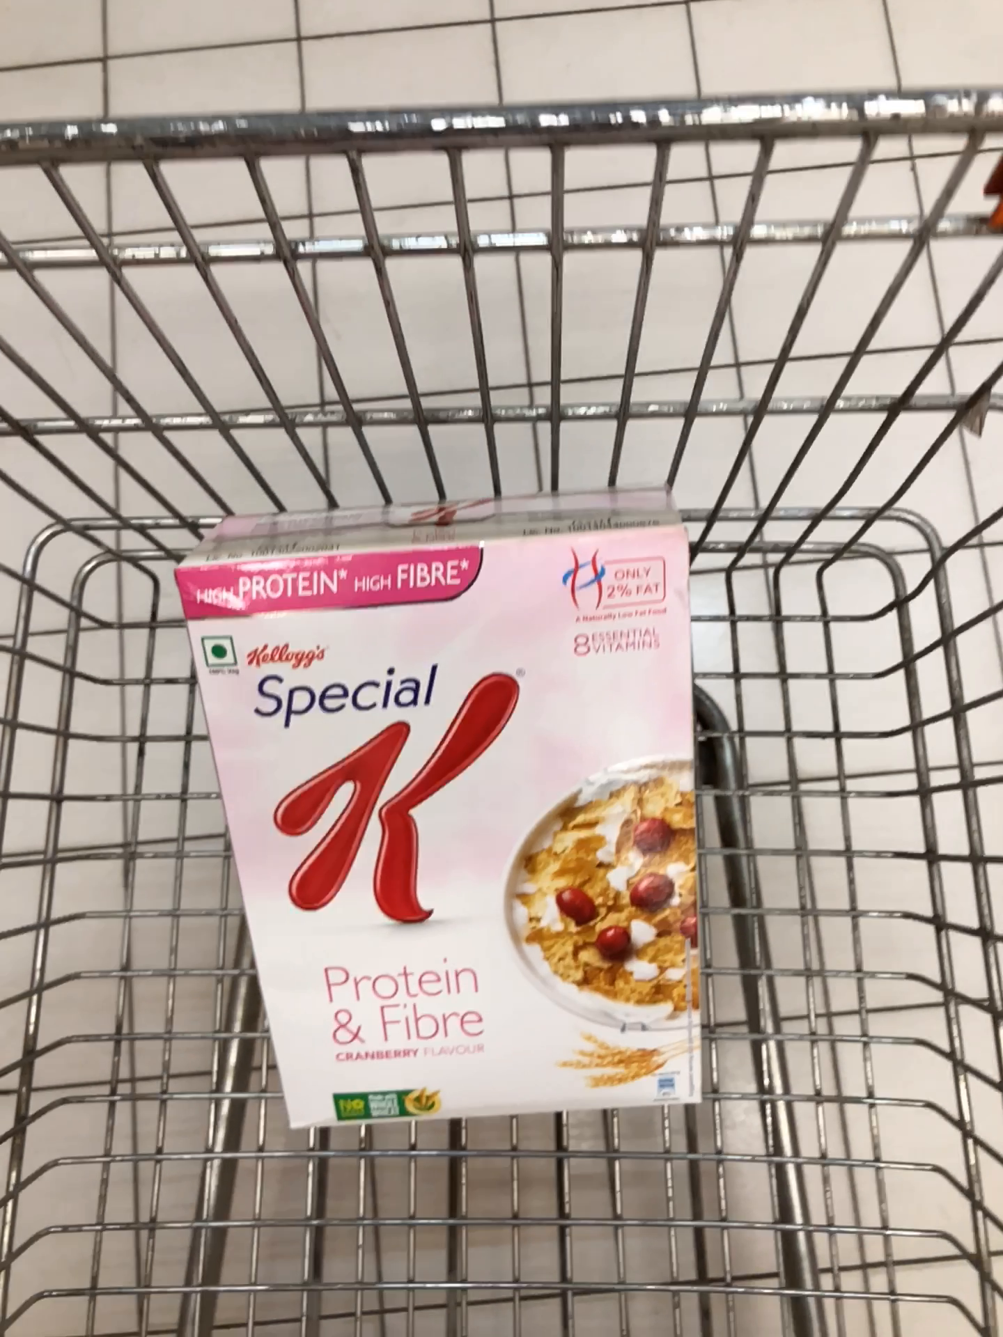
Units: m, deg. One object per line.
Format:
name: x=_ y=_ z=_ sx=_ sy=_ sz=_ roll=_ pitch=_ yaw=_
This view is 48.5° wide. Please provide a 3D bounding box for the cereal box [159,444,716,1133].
cereal box: x=-0.013 y=0.056 z=0.480 sx=0.190 sy=0.100 sz=0.269 roll=-4 pitch=115 yaw=1
